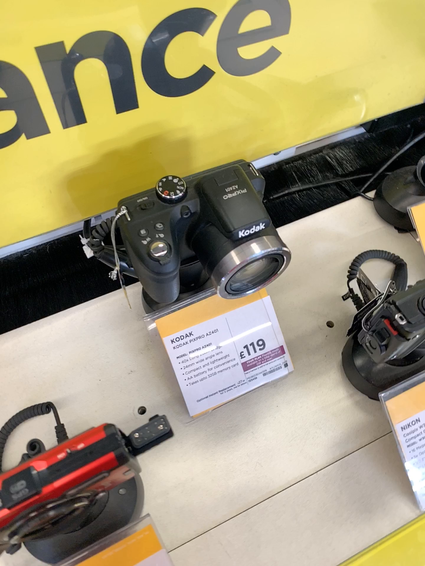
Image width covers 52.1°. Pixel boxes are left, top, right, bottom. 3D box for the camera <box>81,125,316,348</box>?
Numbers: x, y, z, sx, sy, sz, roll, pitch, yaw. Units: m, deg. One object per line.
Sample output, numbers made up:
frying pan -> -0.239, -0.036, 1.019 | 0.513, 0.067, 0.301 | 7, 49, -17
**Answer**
camera -> -0.011, -0.033, 0.332 | 0.130, 0.099, 0.090 | -23, 64, -13
